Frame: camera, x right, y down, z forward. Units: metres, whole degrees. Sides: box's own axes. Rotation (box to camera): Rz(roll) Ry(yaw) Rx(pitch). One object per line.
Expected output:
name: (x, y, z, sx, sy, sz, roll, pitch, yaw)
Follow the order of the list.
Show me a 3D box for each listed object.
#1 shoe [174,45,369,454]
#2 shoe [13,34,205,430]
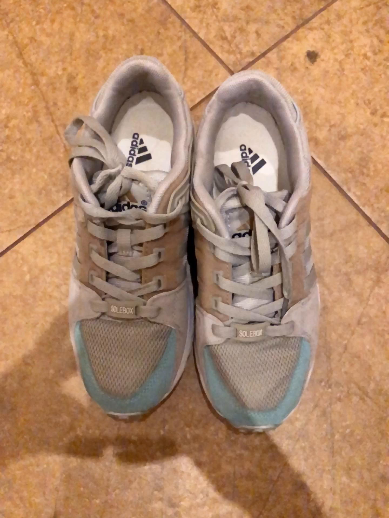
shoe: (0.044, -0.010, 0.311, 0.108, 0.080, 0.260, -2, 80, 0)
shoe: (-0.050, -0.021, 0.317, 0.110, 0.080, 0.260, 1, 80, 1)
